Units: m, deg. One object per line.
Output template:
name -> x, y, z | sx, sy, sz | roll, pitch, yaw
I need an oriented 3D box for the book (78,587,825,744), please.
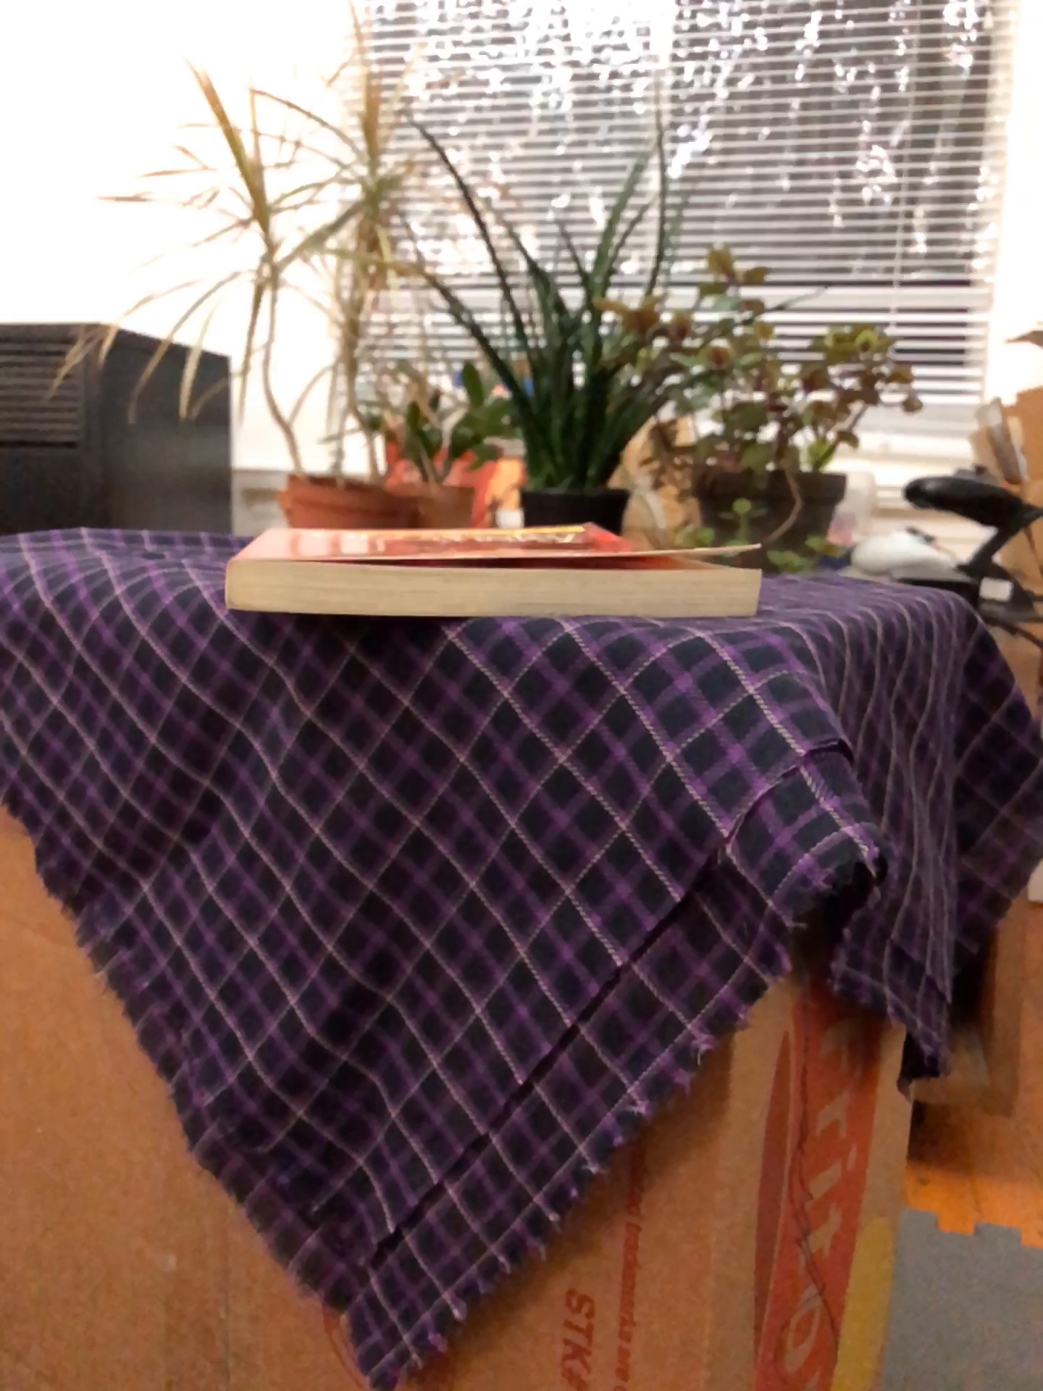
book -> -0.033, -0.017, 0.398 | 0.180, 0.020, 0.240 | 1, 9, -10
